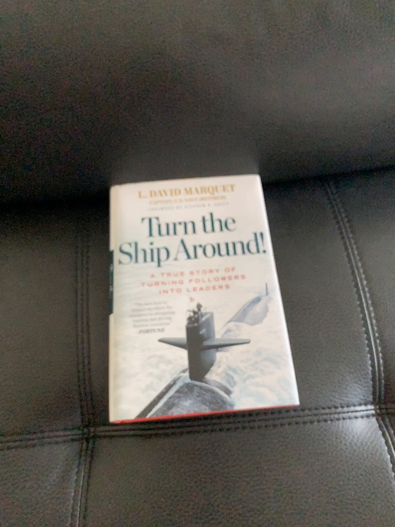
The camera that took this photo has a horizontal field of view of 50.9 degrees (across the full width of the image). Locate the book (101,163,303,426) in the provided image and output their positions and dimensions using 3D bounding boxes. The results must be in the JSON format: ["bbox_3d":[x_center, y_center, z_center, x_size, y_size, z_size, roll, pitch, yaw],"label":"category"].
[{"bbox_3d":[-0.005,0.016,0.371,0.152,0.029,0.226,-5,65,-1],"label":"book"}]
